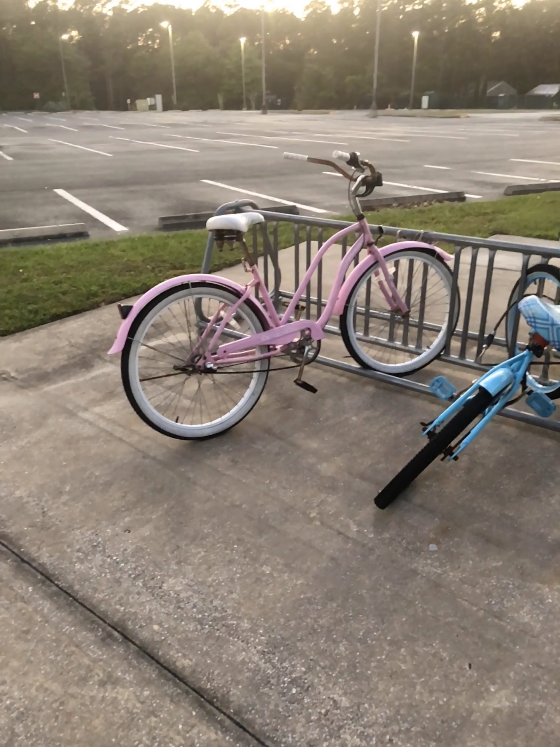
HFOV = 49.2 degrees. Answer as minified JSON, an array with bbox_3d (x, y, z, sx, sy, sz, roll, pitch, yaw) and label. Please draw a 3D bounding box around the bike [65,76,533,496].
[{"bbox_3d":[0.076,-0.505,2.650,1.654,1.116,0.842,-20,29,-24],"label":"bike"}]
